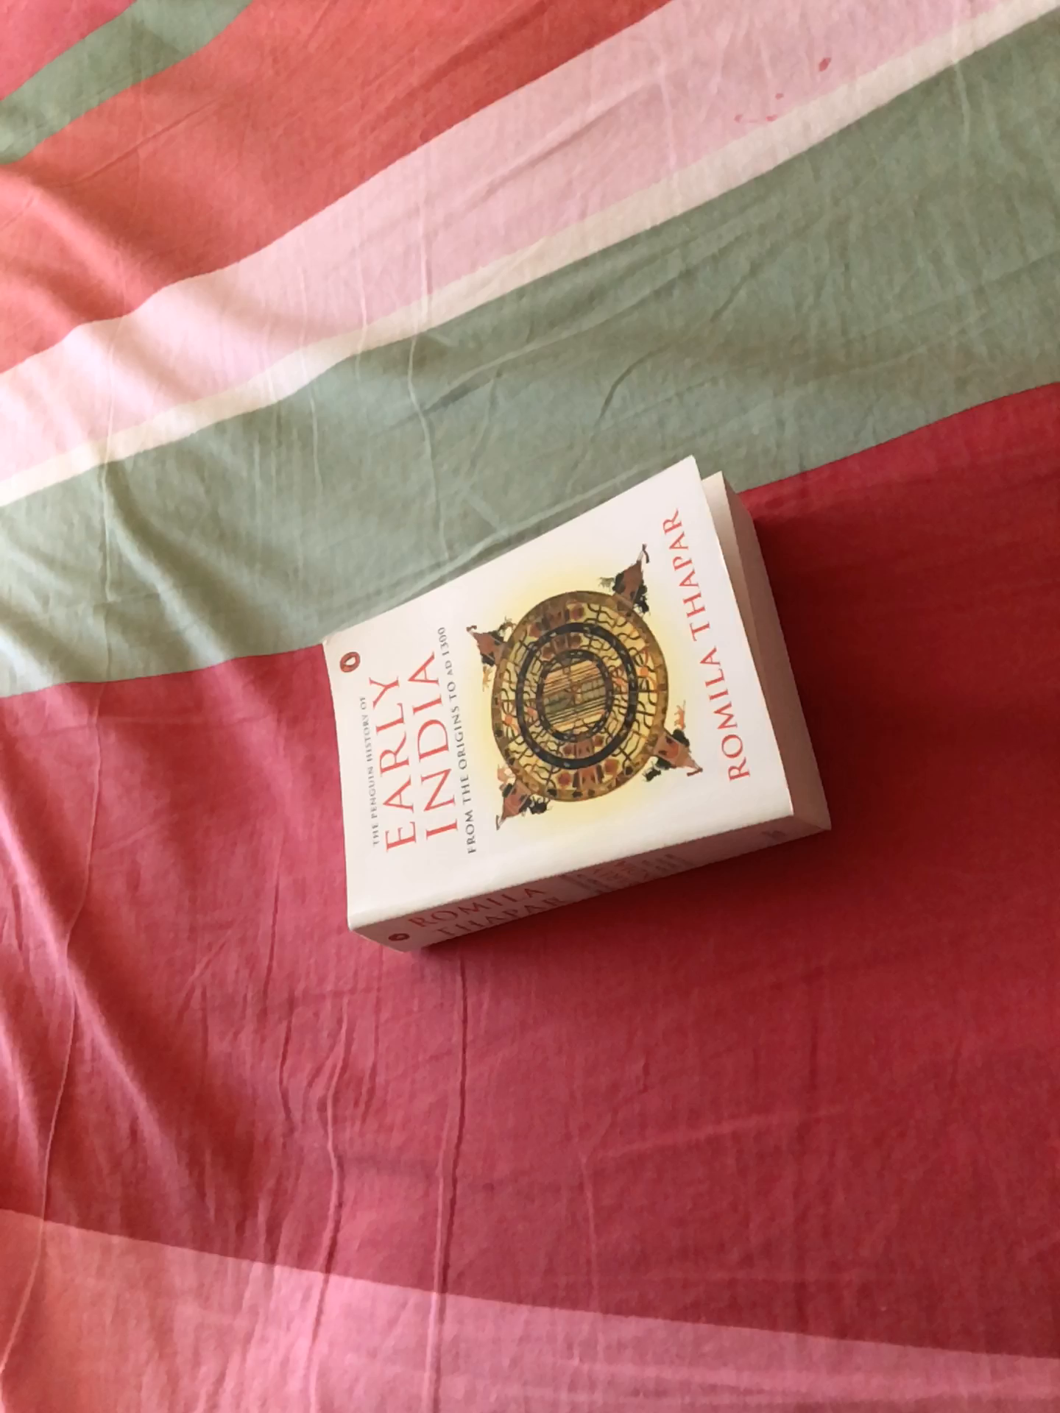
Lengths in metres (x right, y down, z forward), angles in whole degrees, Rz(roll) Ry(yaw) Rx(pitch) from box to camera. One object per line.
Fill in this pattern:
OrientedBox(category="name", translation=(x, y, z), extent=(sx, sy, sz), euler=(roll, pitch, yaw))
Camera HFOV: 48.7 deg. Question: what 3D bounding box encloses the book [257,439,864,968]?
OrientedBox(category="book", translation=(0.001, 0.009, 0.435), extent=(0.201, 0.070, 0.120), euler=(-22, 61, 24))
